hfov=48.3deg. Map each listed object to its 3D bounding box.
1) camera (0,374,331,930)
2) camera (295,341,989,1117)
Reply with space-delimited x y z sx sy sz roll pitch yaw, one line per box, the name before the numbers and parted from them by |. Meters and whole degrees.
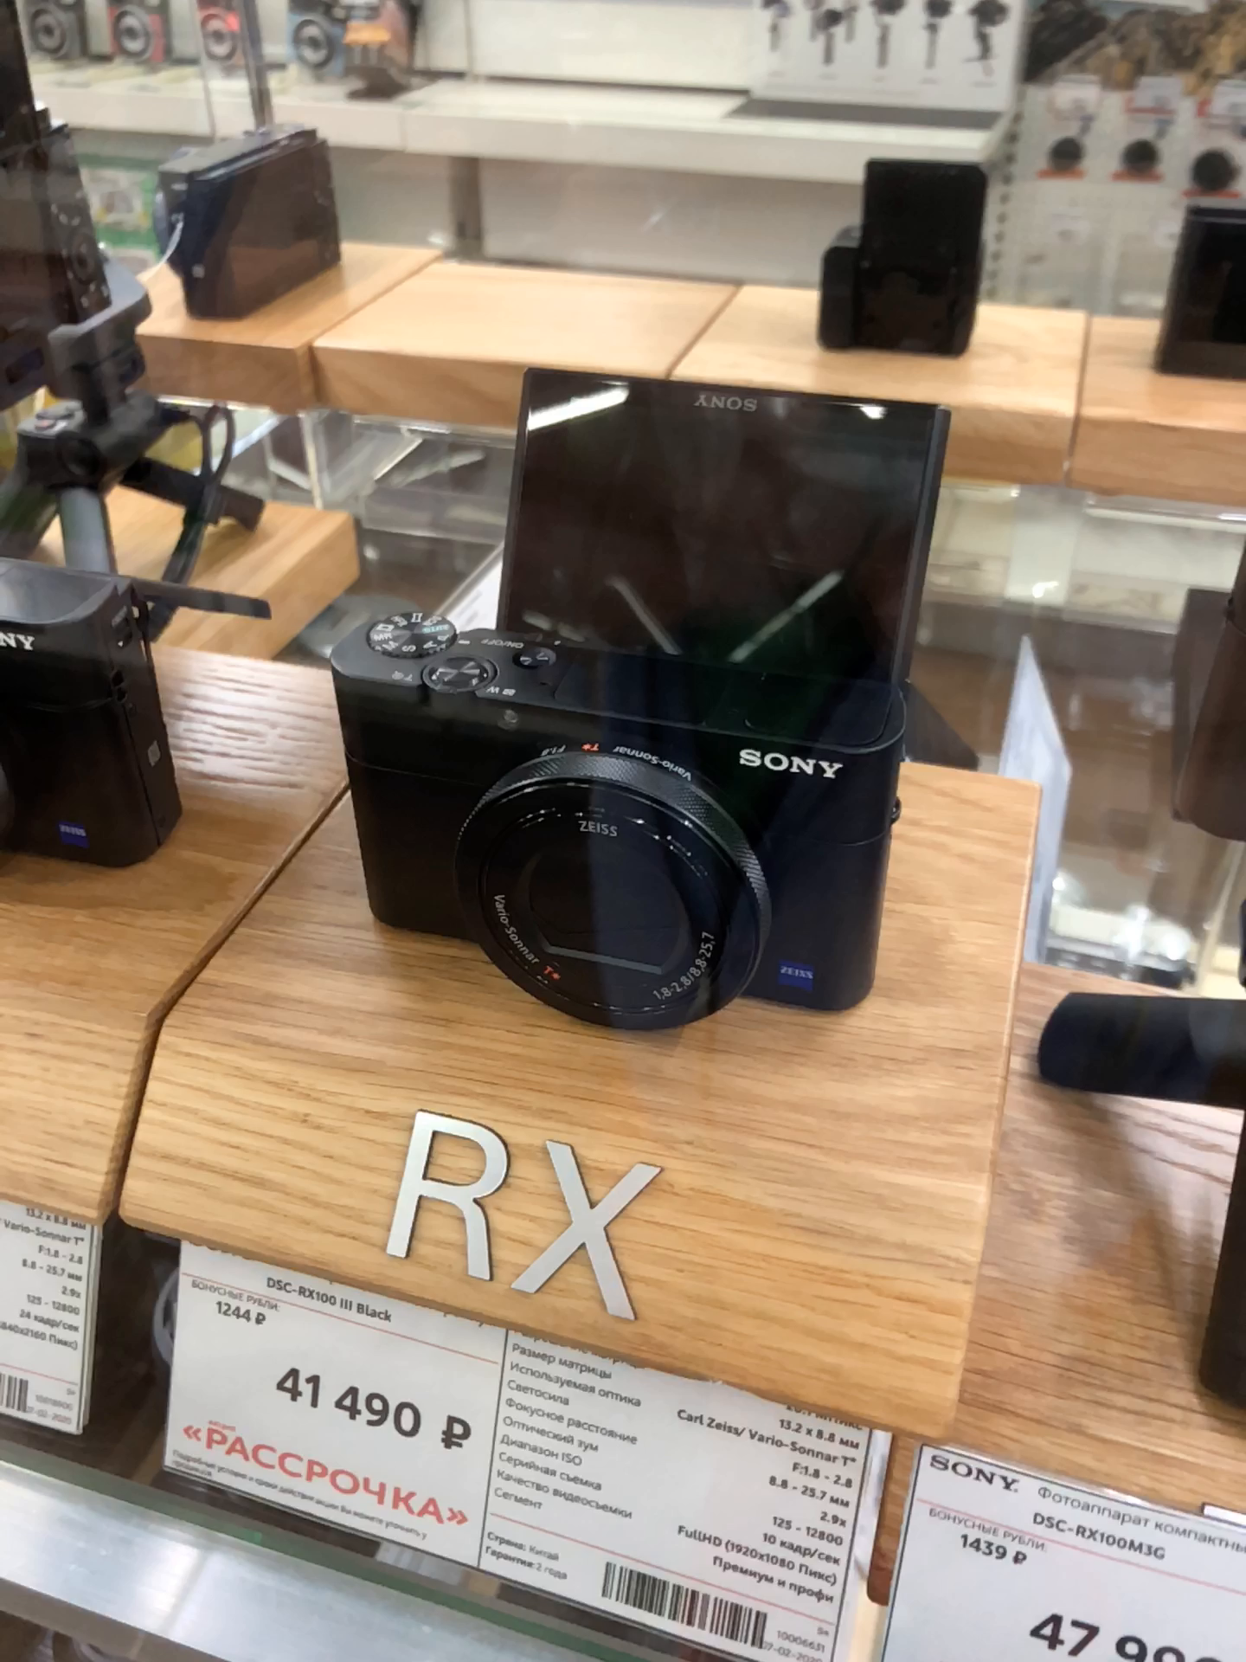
camera | -0.135 -0.044 0.298 0.101 0.067 0.097 10 38 14
camera | 0.005 -0.018 0.256 0.100 0.119 0.050 10 38 14
